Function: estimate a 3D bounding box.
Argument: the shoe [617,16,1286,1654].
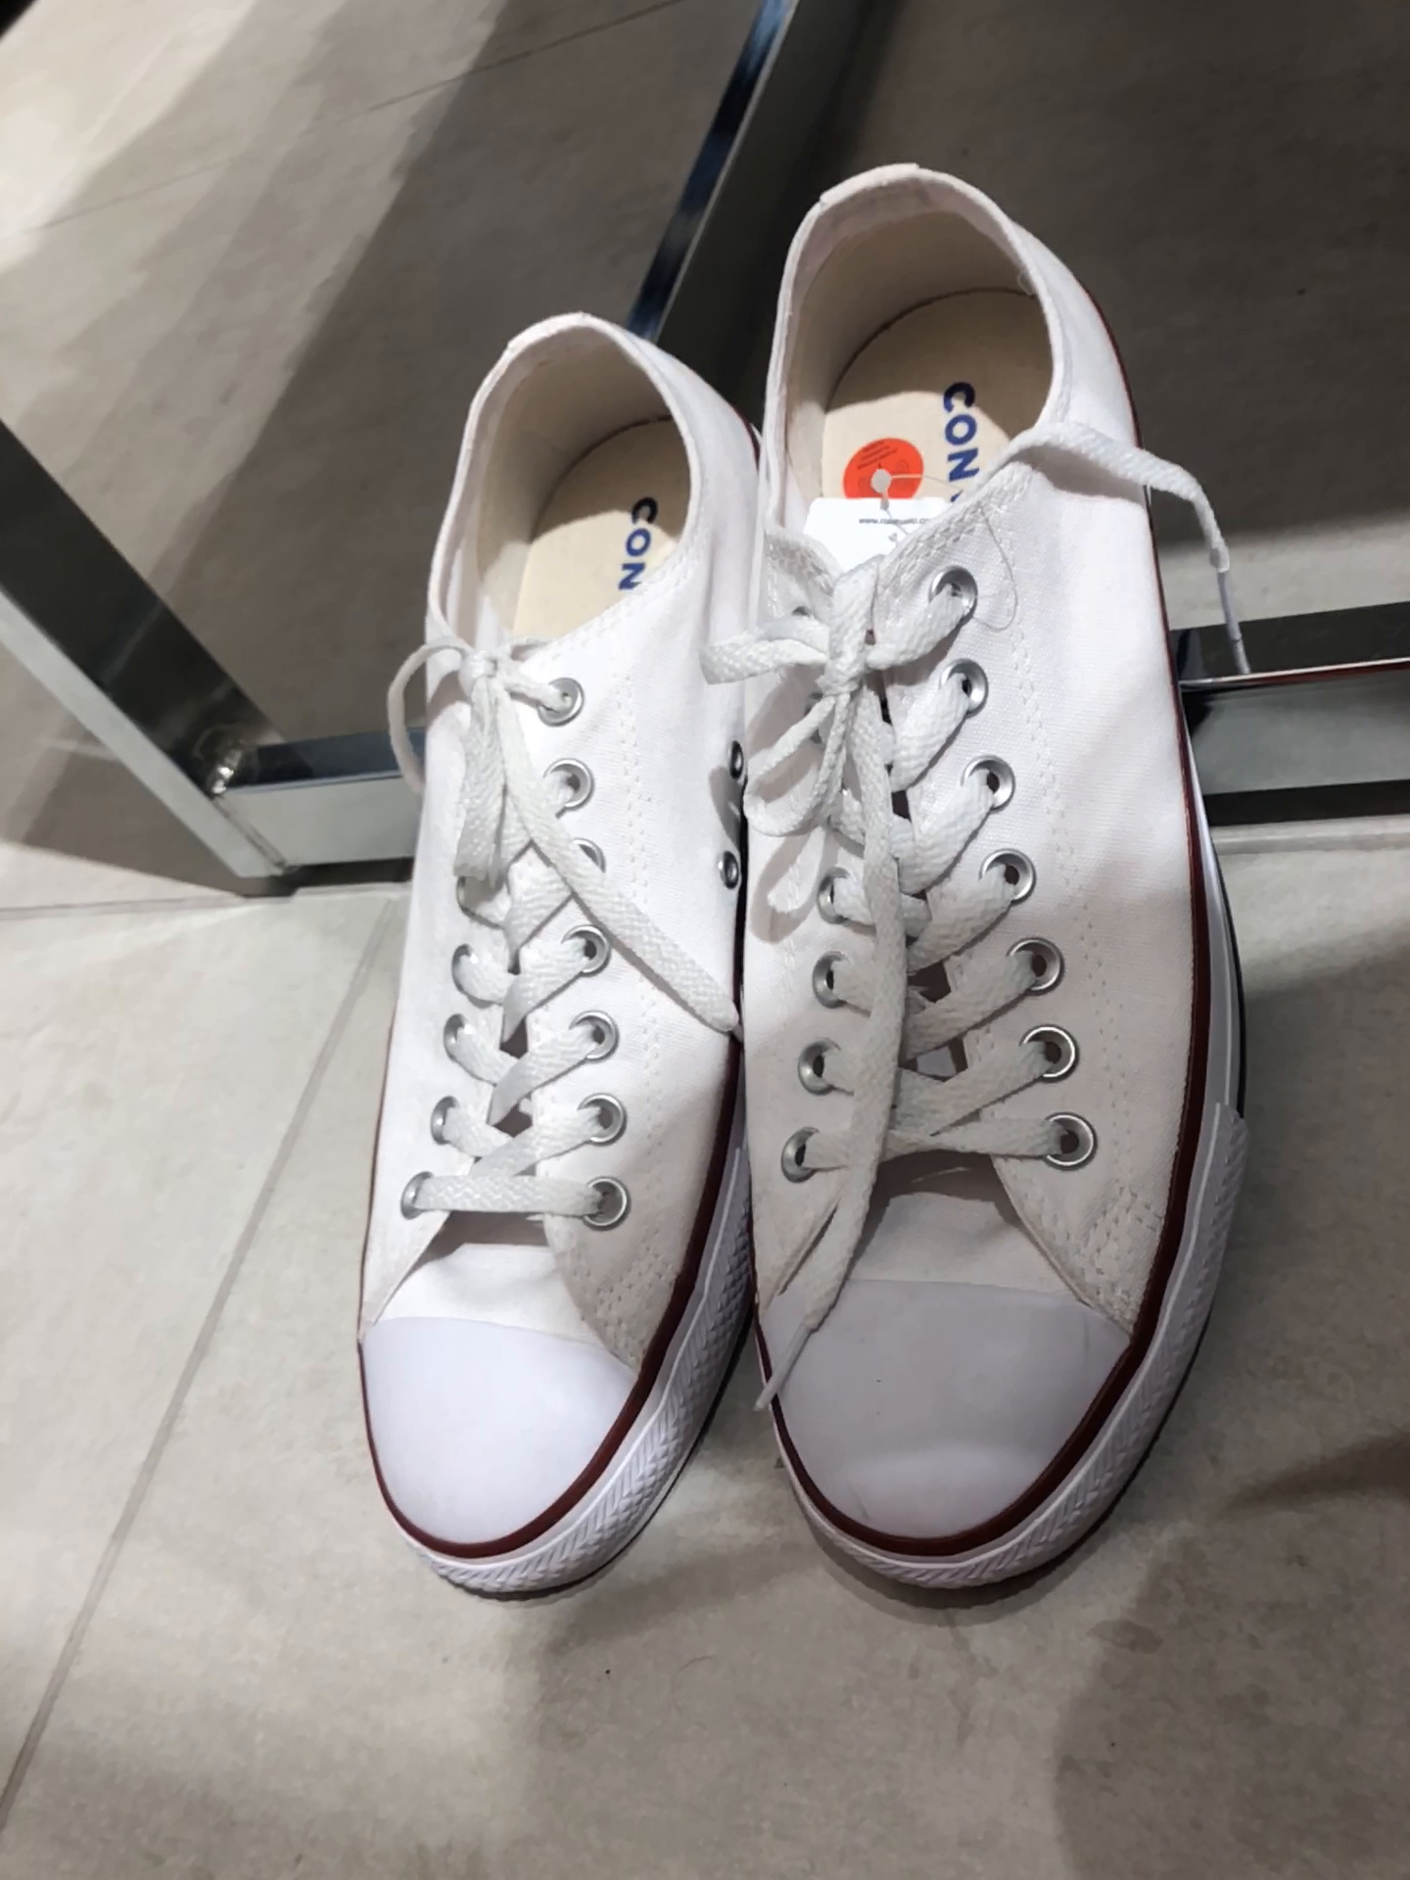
[{"bbox_3d":[0.058,-0.023,0.328,0.100,0.090,0.291,-4,75,28],"label":"shoe"}]

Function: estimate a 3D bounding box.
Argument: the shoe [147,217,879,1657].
[{"bbox_3d":[-0.036,-0.004,0.373,0.110,0.090,0.291,-2,76,29],"label":"shoe"}]
